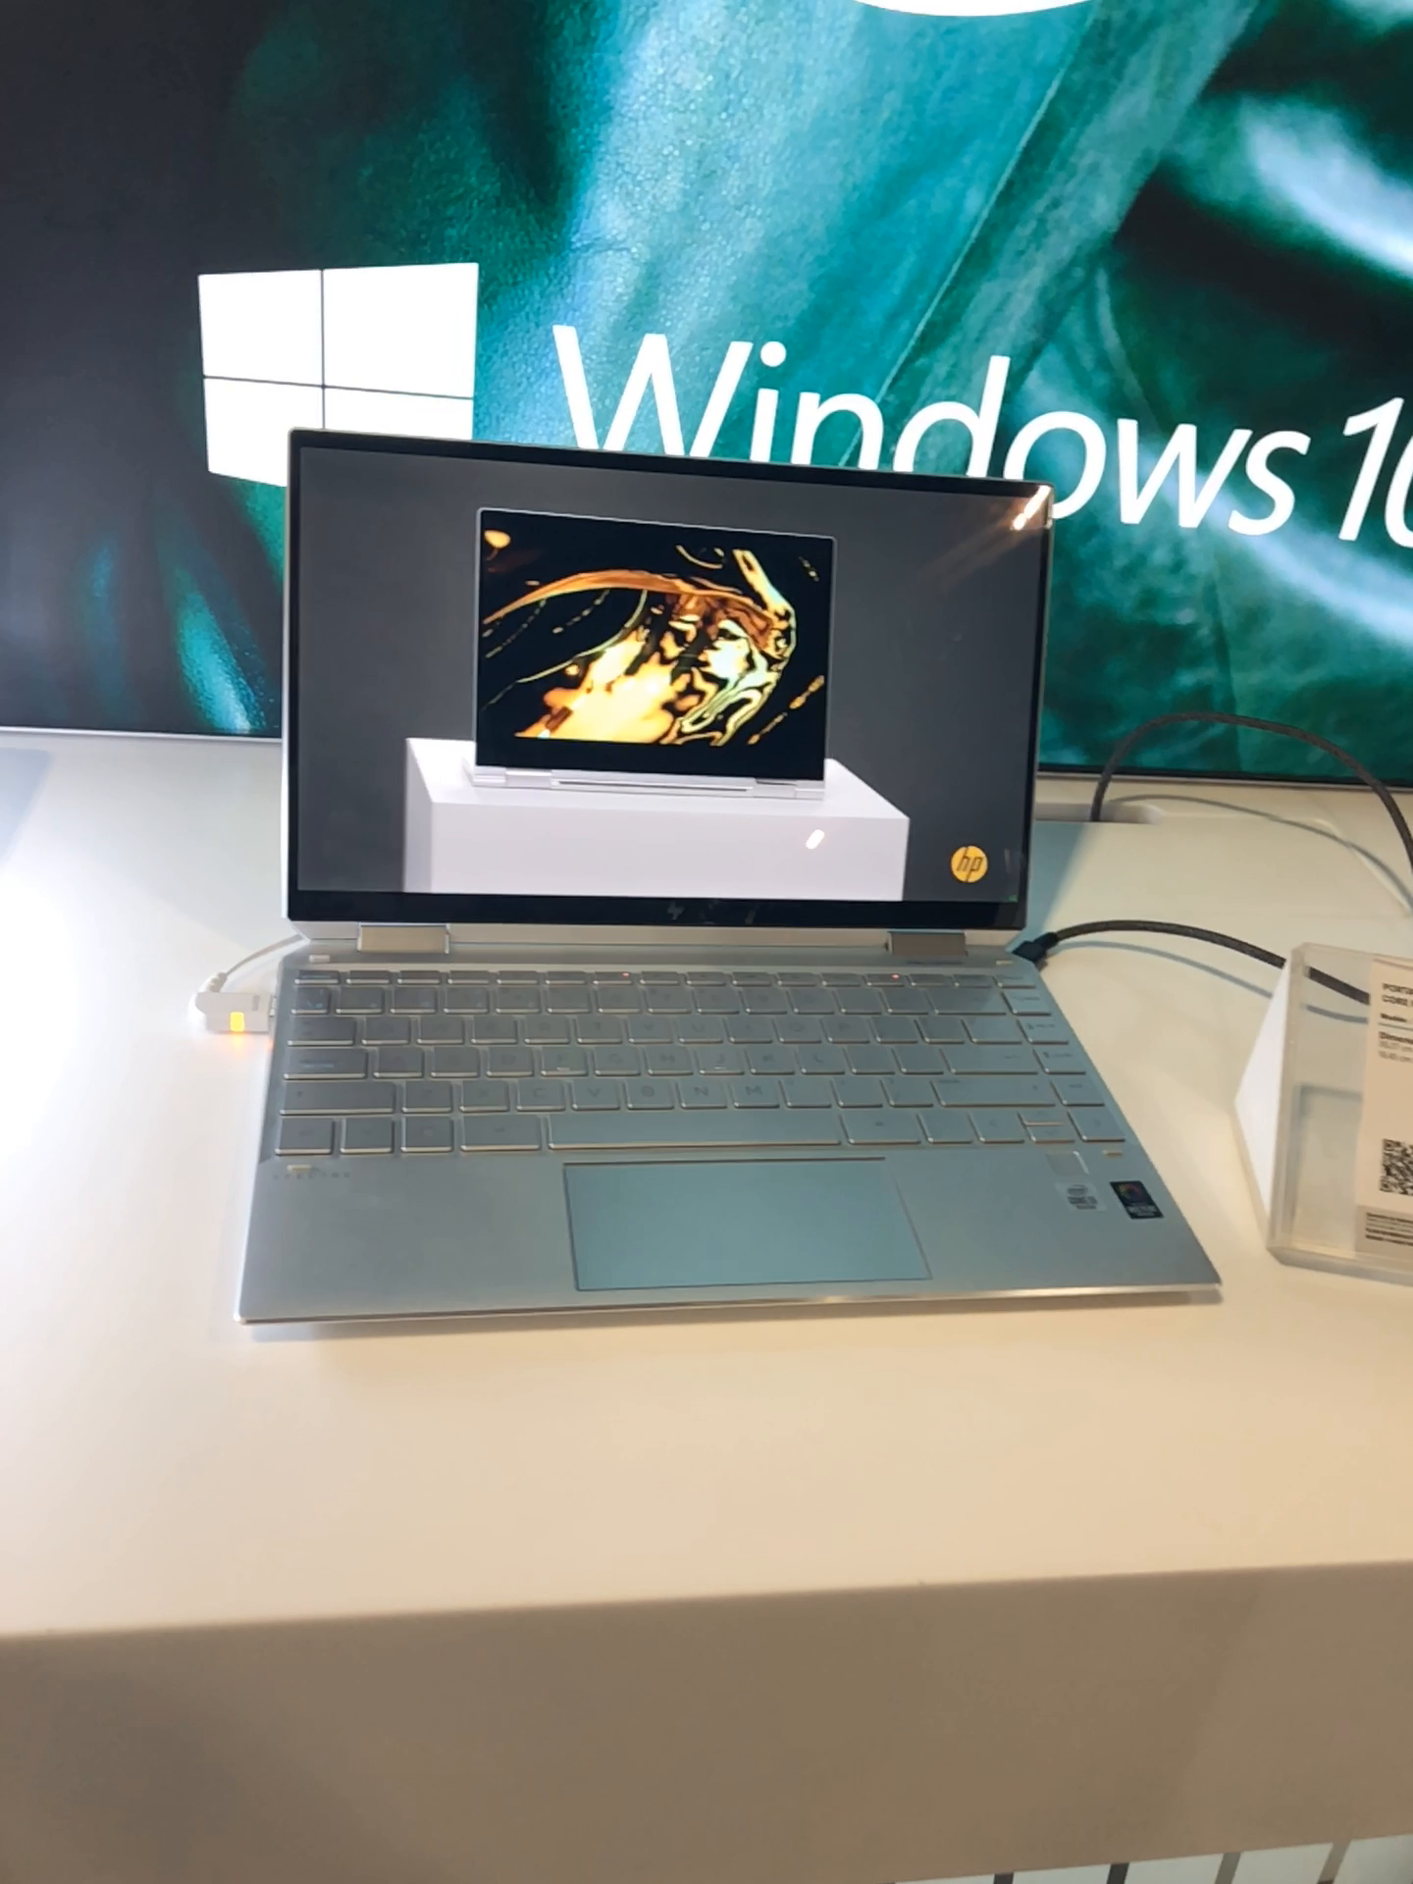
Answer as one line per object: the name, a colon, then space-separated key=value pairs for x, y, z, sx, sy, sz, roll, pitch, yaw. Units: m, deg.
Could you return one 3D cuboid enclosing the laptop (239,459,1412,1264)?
laptop: x=0.006 y=-0.035 z=0.513 sx=0.281 sy=0.194 sz=0.241 roll=1 pitch=26 yaw=-12
